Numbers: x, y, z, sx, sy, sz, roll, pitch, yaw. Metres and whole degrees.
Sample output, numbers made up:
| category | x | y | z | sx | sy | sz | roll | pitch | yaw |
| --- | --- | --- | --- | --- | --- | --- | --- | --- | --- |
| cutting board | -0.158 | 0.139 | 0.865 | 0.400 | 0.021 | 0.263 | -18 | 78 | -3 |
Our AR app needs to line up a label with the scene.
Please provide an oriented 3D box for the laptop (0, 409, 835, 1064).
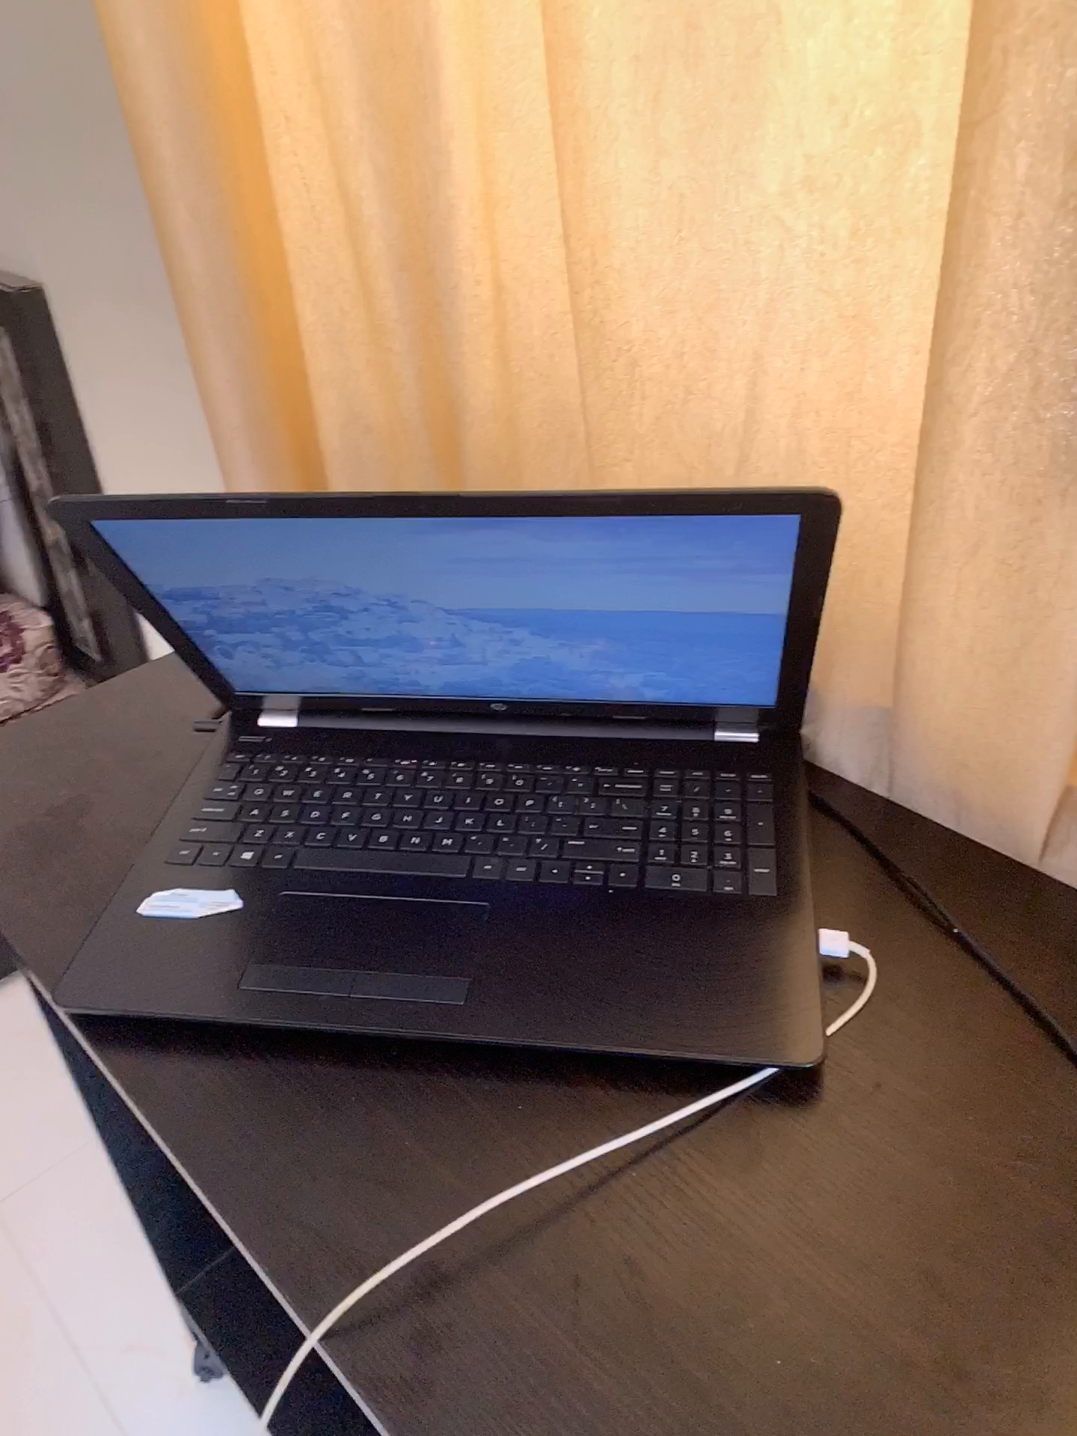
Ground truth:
| category | x | y | z | sx | sy | sz | roll | pitch | yaw |
| --- | --- | --- | --- | --- | --- | --- | --- | --- | --- |
| laptop | -0.051 | -0.007 | 0.559 | 0.362 | 0.201 | 0.239 | 2 | 36 | 11 |
